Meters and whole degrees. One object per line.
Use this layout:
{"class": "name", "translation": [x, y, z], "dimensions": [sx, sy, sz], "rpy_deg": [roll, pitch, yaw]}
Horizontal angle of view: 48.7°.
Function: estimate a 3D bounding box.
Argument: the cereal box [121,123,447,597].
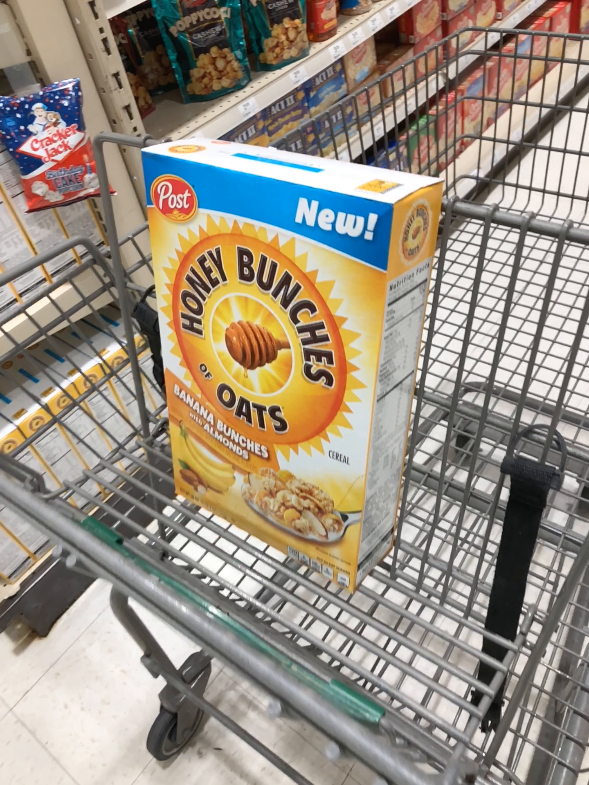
{"class": "cereal box", "translation": [-0.017, -0.019, 0.473], "dimensions": [0.200, 0.299, 0.060], "rpy_deg": [22, 38, 29]}
